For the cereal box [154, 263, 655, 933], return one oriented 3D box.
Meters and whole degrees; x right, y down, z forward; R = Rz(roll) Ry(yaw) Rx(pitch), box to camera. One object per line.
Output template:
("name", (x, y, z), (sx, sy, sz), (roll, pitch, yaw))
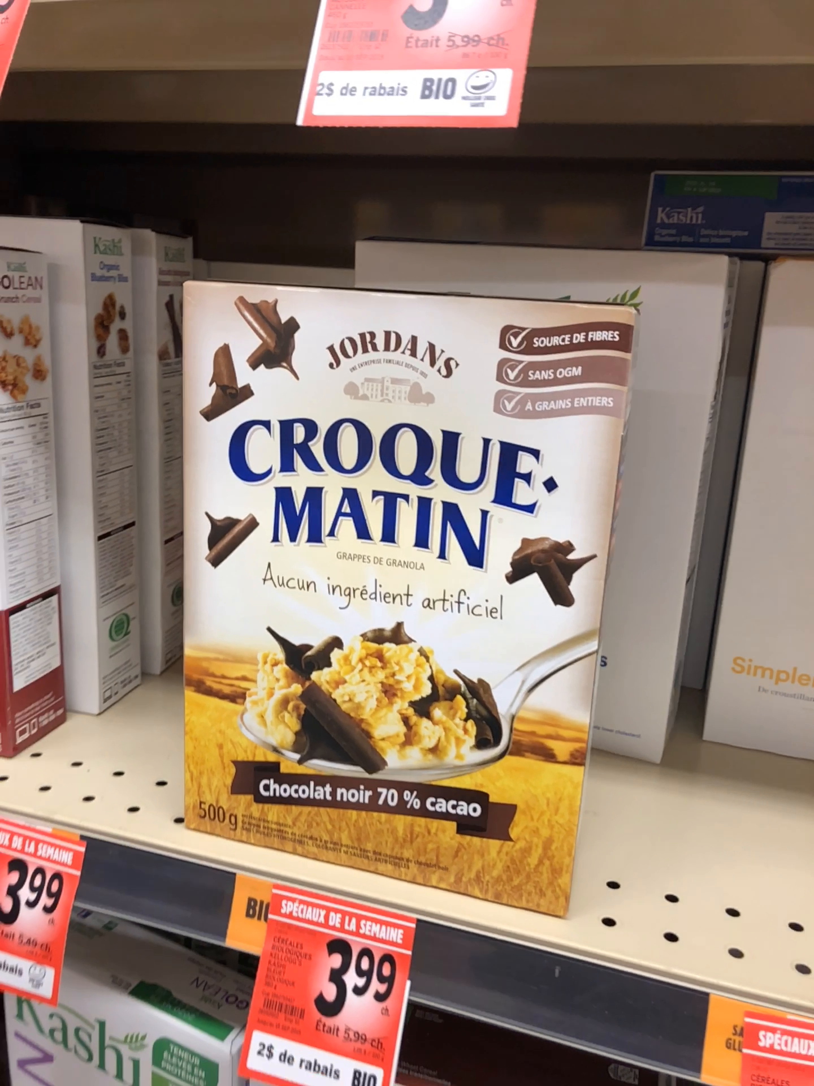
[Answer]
("cereal box", (-0.009, 0.018, 0.380), (0.190, 0.249, 0.050), (7, 14, 15))
